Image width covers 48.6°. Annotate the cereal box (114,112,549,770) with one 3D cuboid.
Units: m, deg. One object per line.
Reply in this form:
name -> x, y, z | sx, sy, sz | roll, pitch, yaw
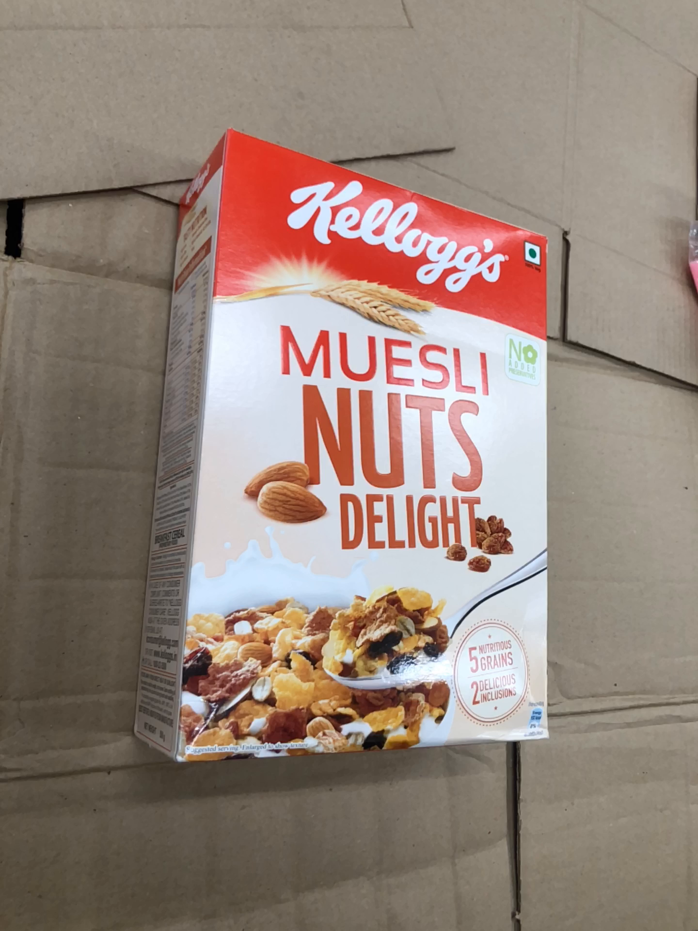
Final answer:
cereal box -> 0.000, -0.003, 0.369 | 0.181, 0.070, 0.260 | 9, 76, -28
